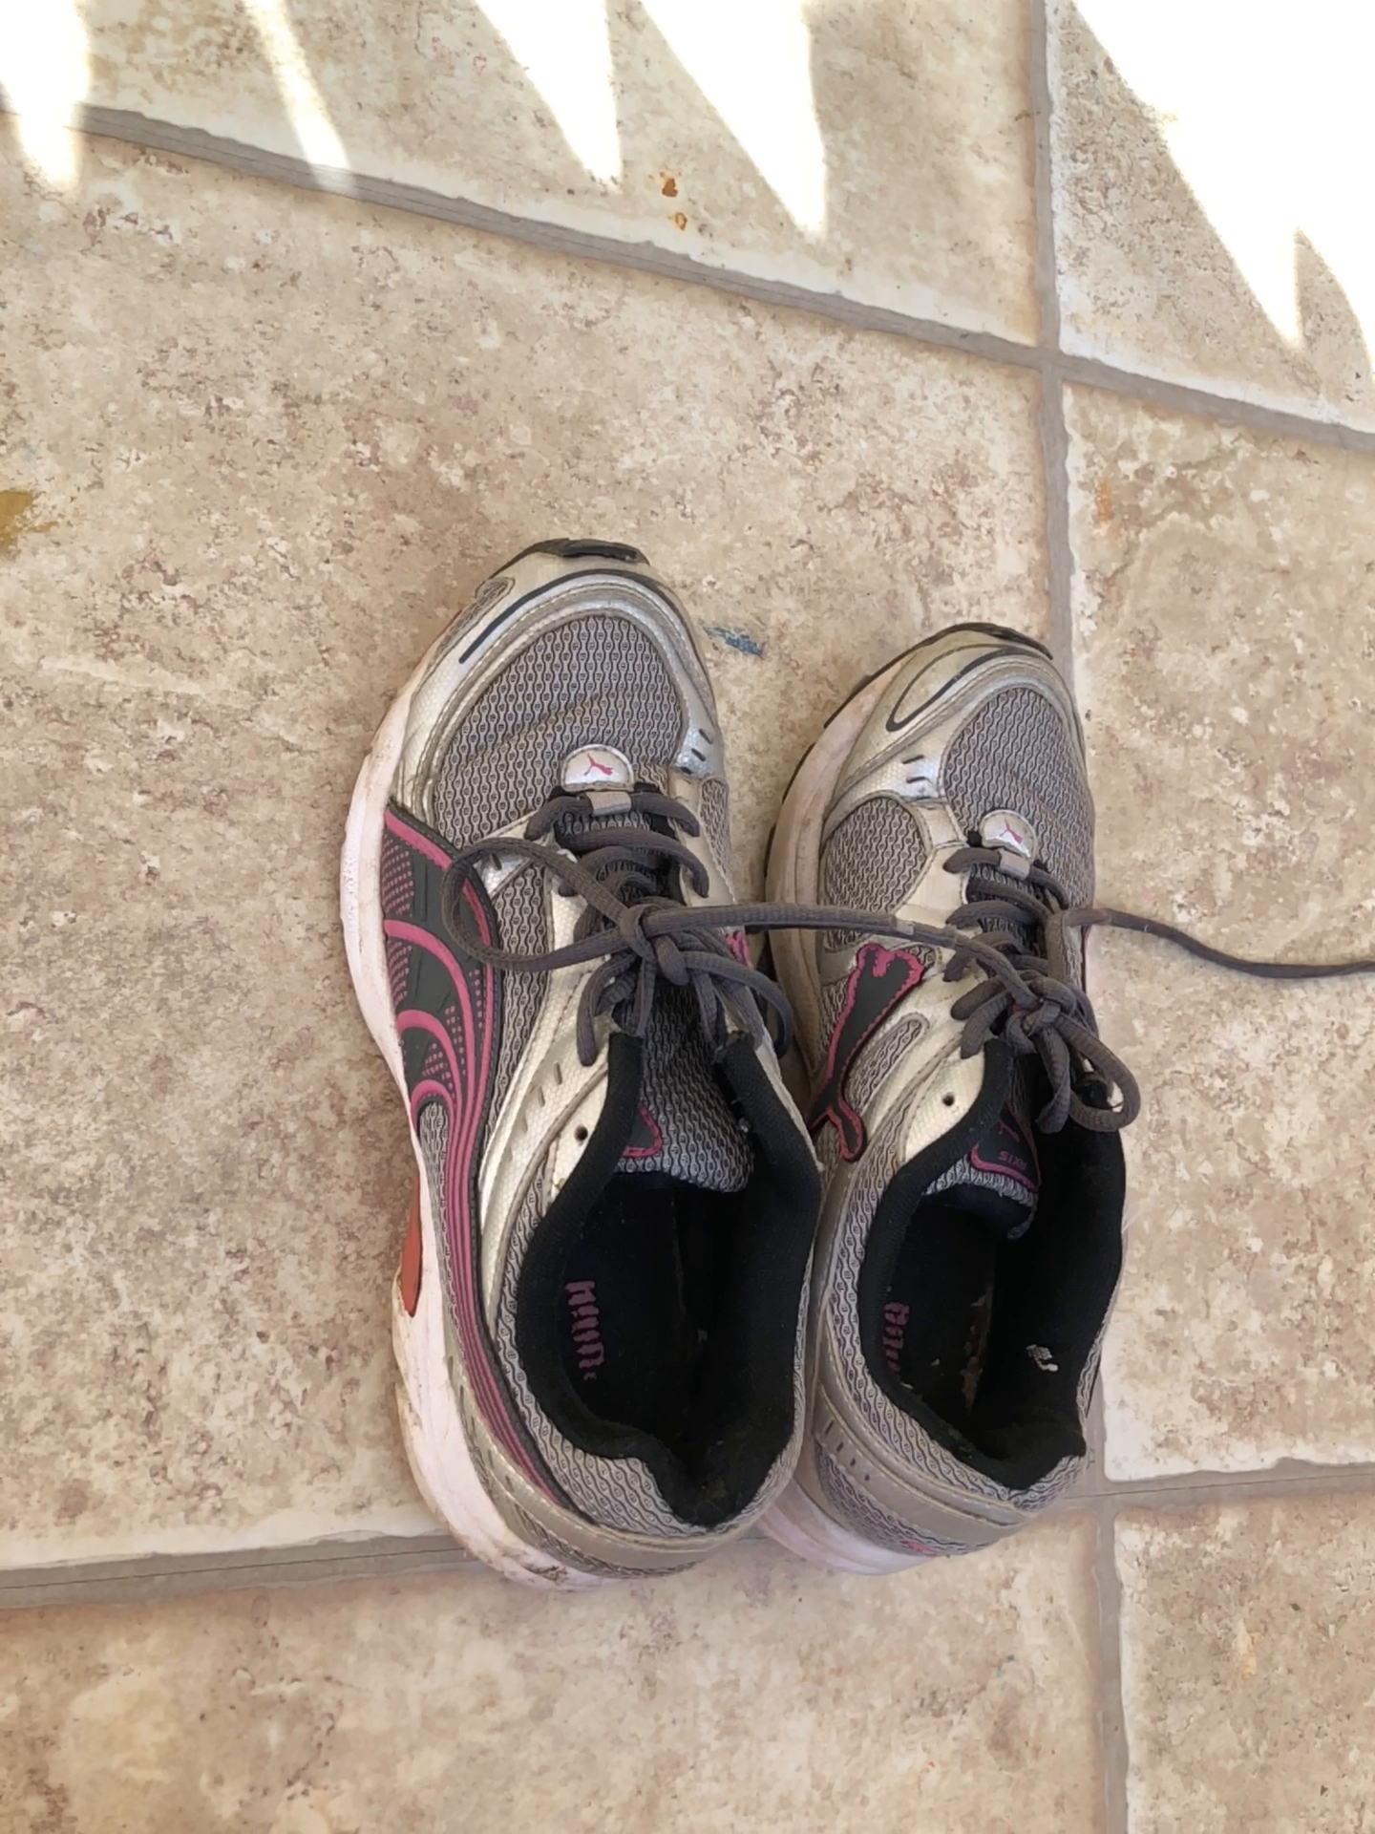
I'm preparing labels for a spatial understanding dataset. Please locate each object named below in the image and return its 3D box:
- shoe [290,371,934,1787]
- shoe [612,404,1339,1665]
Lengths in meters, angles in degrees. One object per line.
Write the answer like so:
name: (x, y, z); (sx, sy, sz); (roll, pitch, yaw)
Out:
shoe: (-0.033, 0.033, 0.375); (0.110, 0.140, 0.270); (1, 79, -22)
shoe: (0.074, 0.033, 0.408); (0.110, 0.140, 0.270); (13, 75, -19)
